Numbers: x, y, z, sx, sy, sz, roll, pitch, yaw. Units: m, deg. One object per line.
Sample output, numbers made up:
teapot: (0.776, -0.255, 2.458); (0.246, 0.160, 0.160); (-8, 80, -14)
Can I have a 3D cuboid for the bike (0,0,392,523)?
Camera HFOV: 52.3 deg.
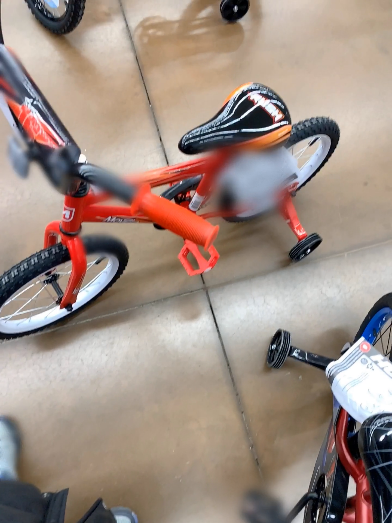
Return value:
bike: (0.008, -0.140, 0.901); (1.140, 0.957, 0.516); (-29, 74, -16)
